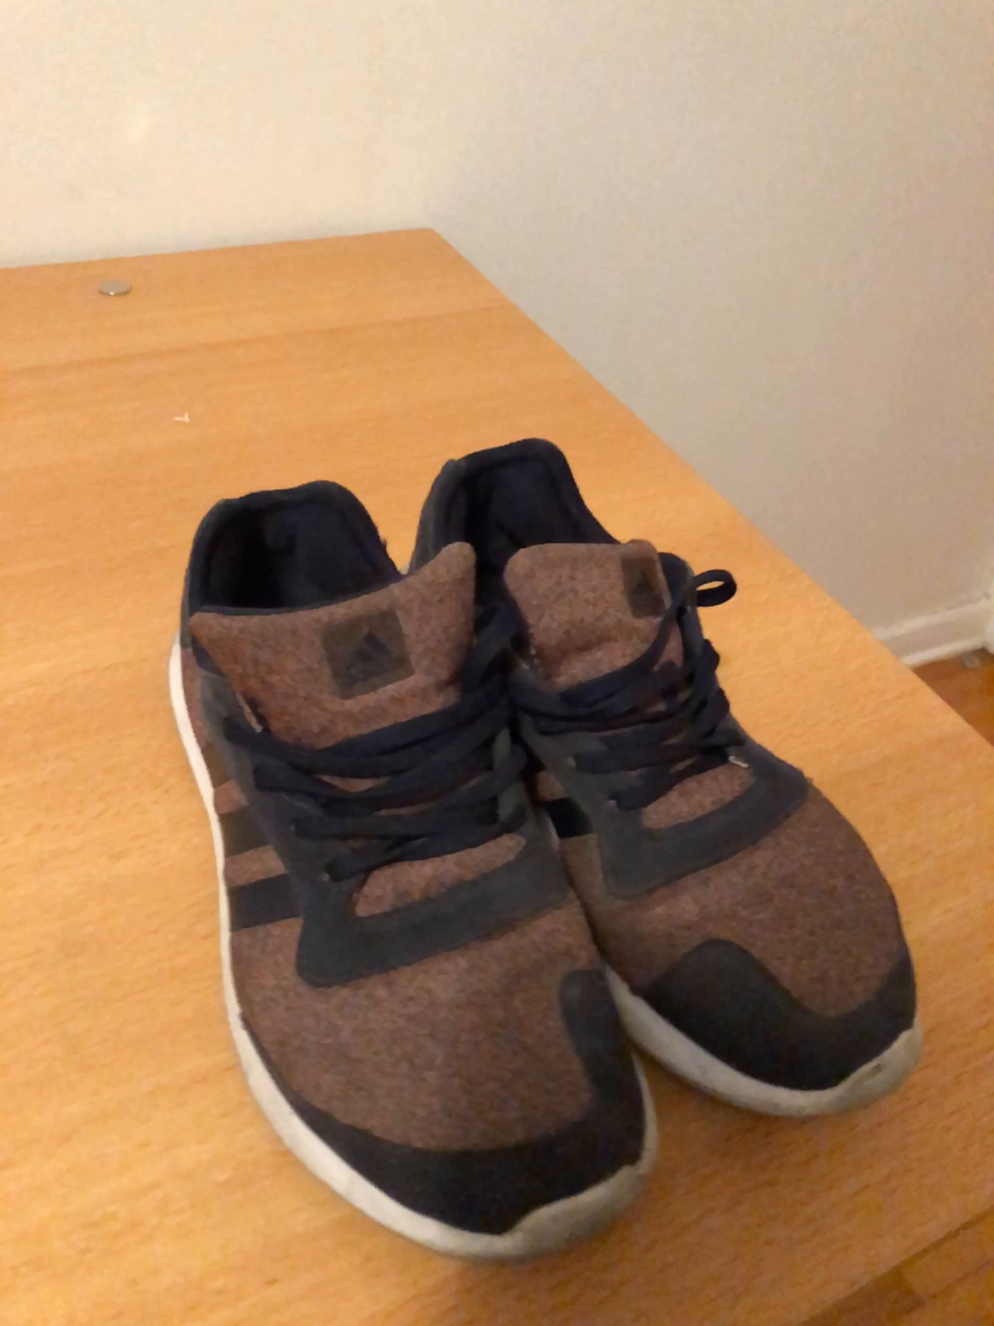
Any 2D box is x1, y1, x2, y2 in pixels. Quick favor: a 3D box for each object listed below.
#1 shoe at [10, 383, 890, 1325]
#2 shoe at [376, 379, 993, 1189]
[{"bbox_3d":[-0.047,0.034,0.354,0.130,0.099,0.312,-17,46,-25],"label":"shoe"},{"bbox_3d":[0.064,0.014,0.375,0.110,0.099,0.262,-17,46,-25],"label":"shoe"}]
